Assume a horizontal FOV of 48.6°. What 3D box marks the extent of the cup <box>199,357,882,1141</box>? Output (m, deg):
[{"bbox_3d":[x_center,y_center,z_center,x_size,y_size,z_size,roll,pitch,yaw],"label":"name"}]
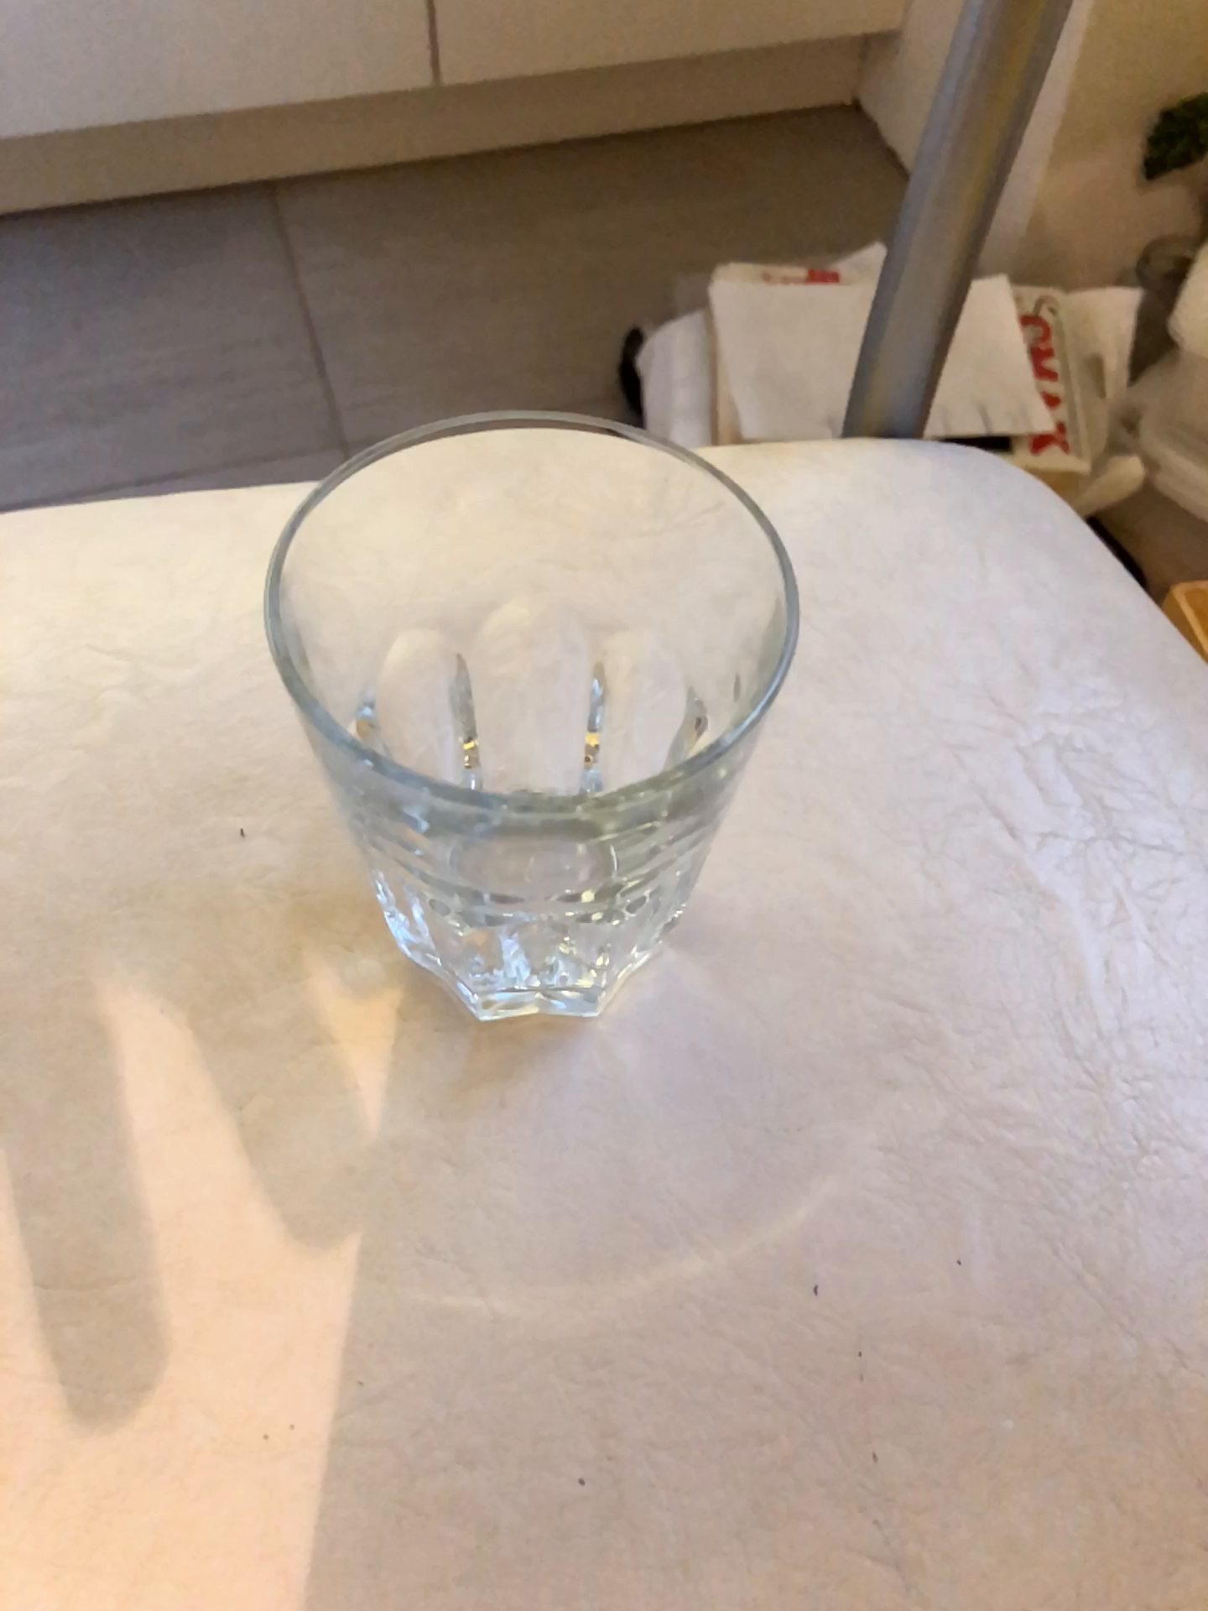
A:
[{"bbox_3d":[-0.014,-0.008,0.246,0.080,0.100,0.080,1,55,-1],"label":"cup"}]
